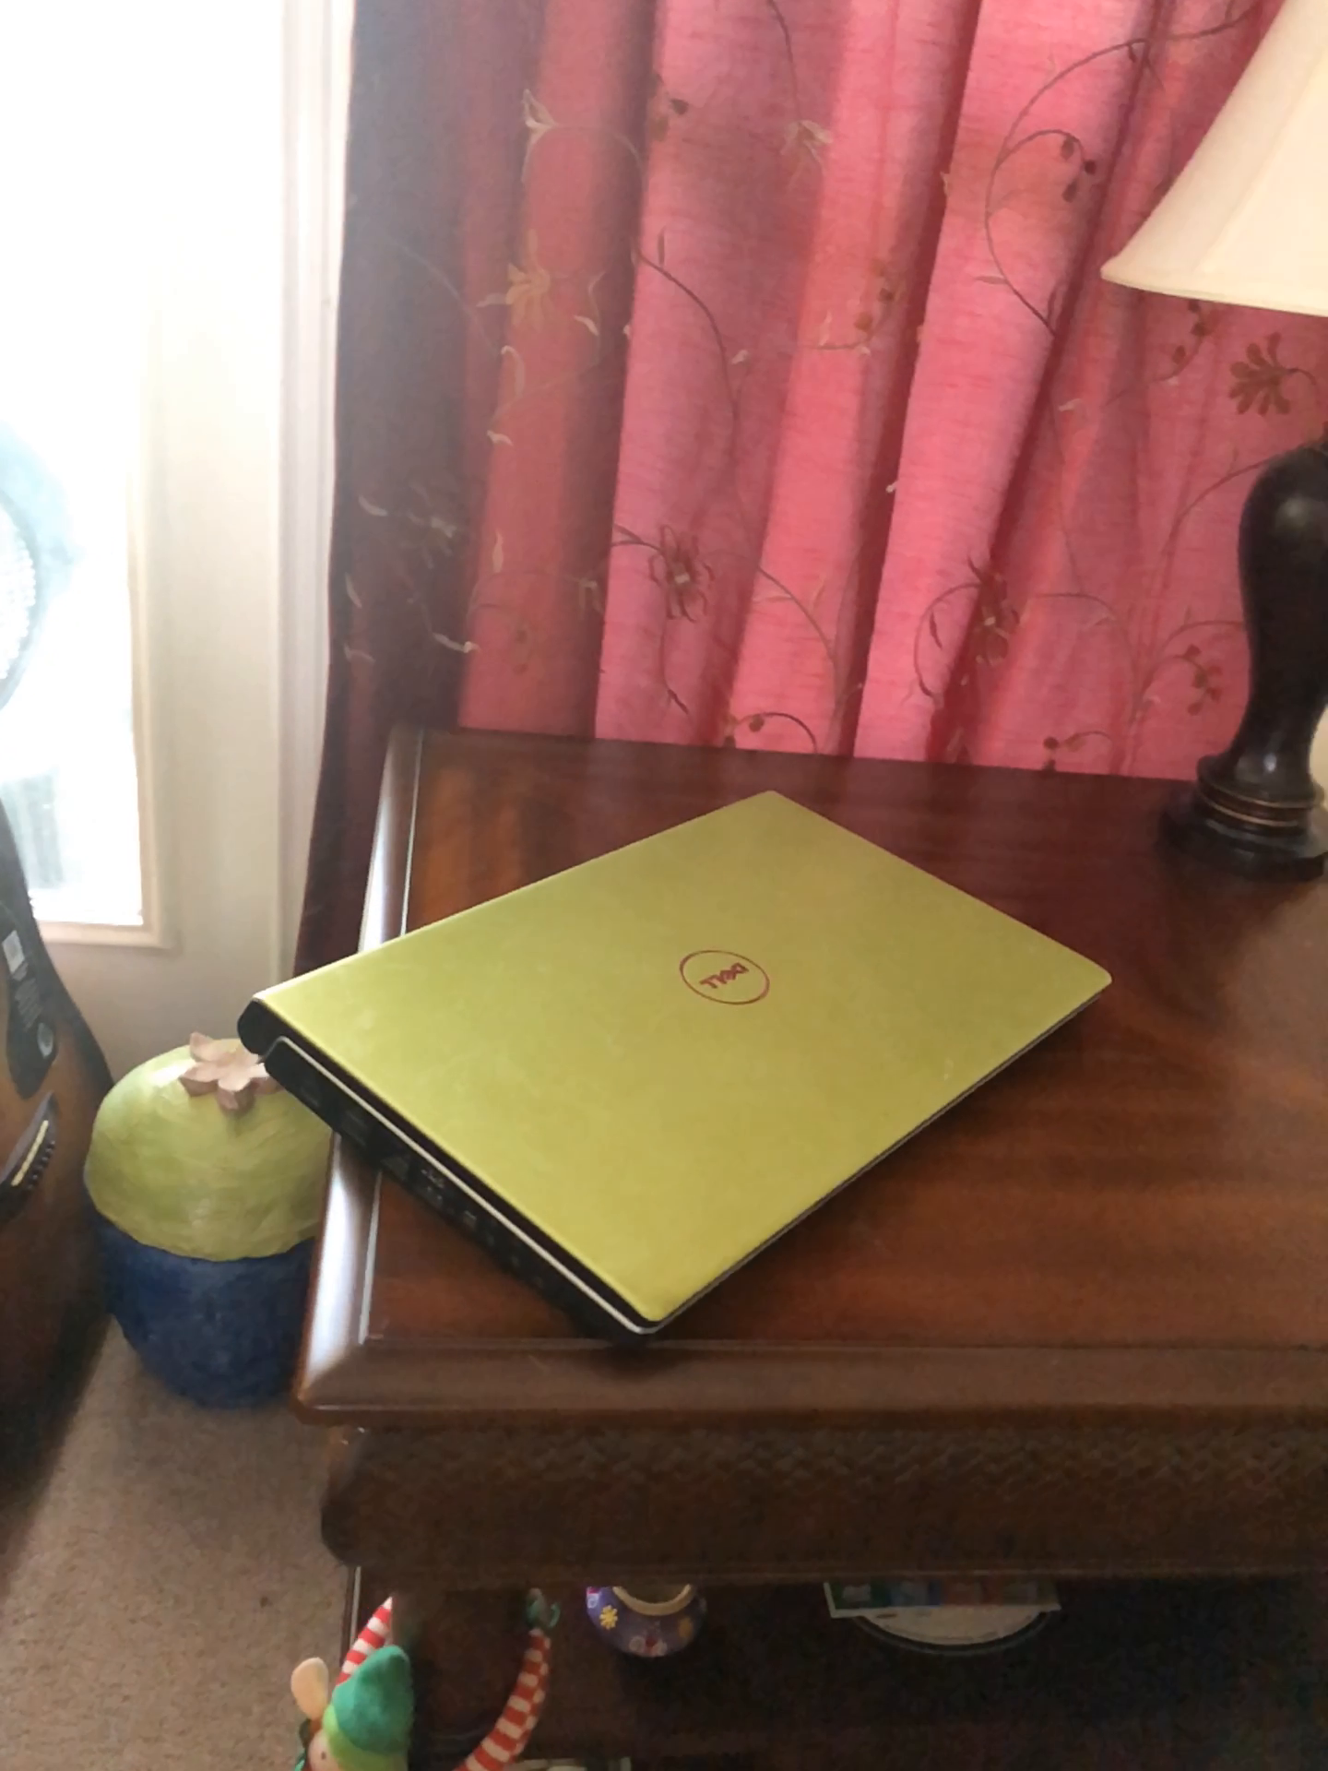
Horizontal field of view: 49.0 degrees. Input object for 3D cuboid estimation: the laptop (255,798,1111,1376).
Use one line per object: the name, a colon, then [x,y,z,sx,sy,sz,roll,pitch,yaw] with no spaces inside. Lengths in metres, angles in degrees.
laptop: [0.029,0.063,0.721,0.237,0.020,0.379,33,36,30]
